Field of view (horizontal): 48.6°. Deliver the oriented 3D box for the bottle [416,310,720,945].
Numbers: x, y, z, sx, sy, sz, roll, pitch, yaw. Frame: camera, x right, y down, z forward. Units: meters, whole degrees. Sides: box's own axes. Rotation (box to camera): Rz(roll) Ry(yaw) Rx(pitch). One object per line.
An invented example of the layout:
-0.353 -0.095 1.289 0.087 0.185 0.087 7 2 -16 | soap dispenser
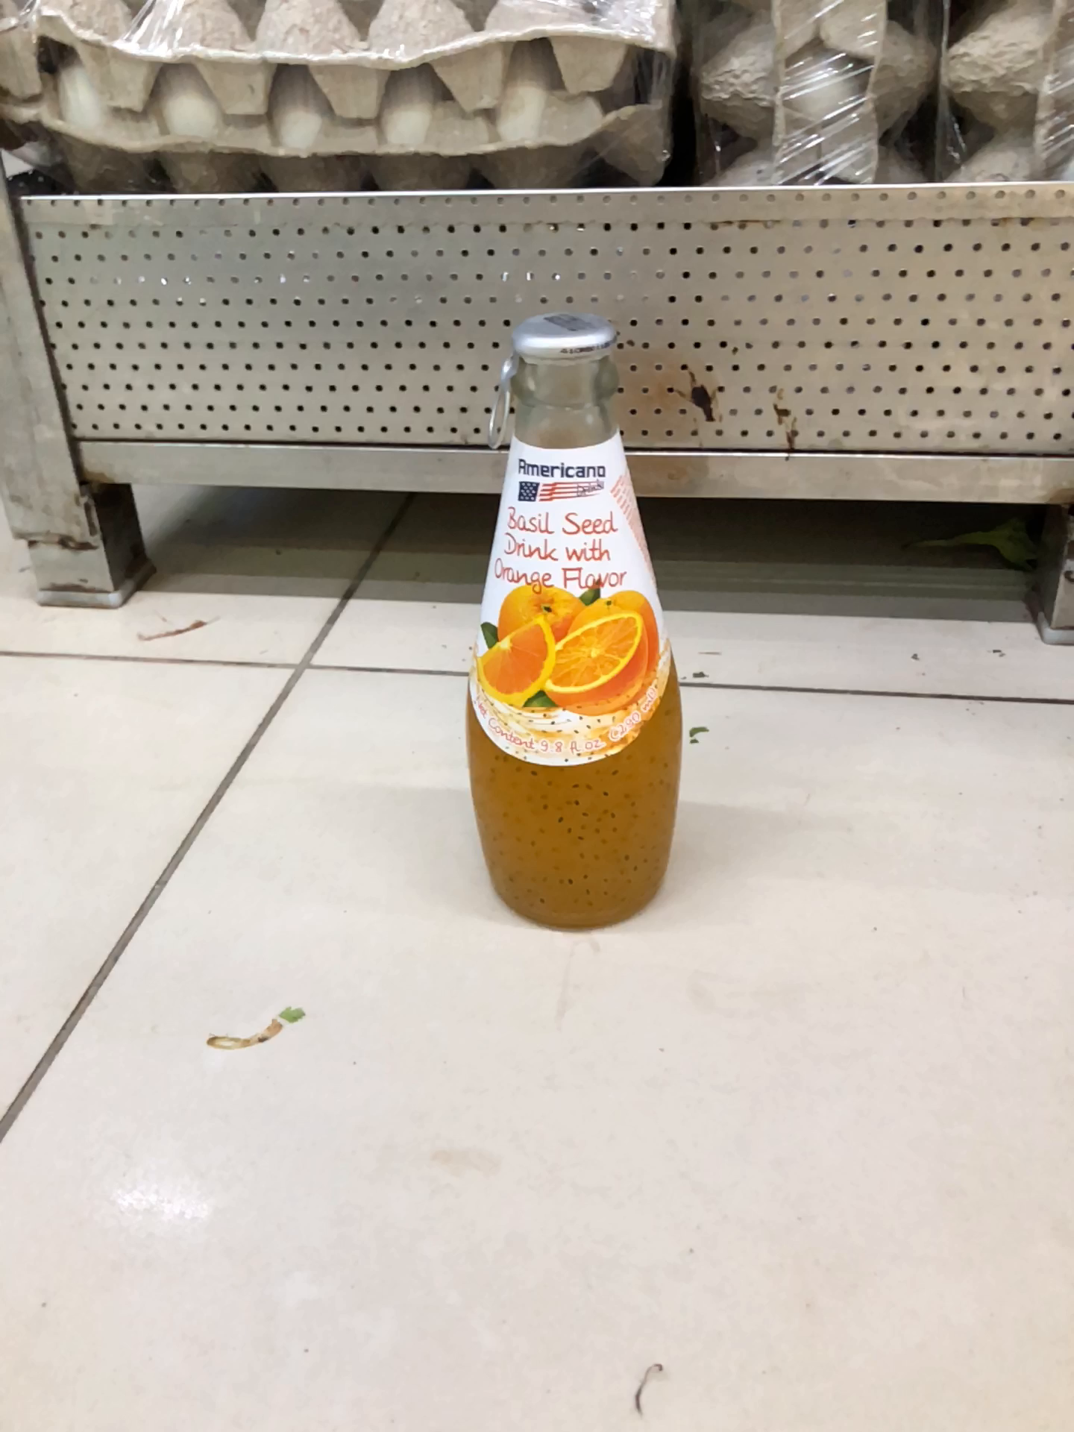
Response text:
0.013 -0.022 0.347 0.070 0.169 0.070 -2 31 1 | bottle
